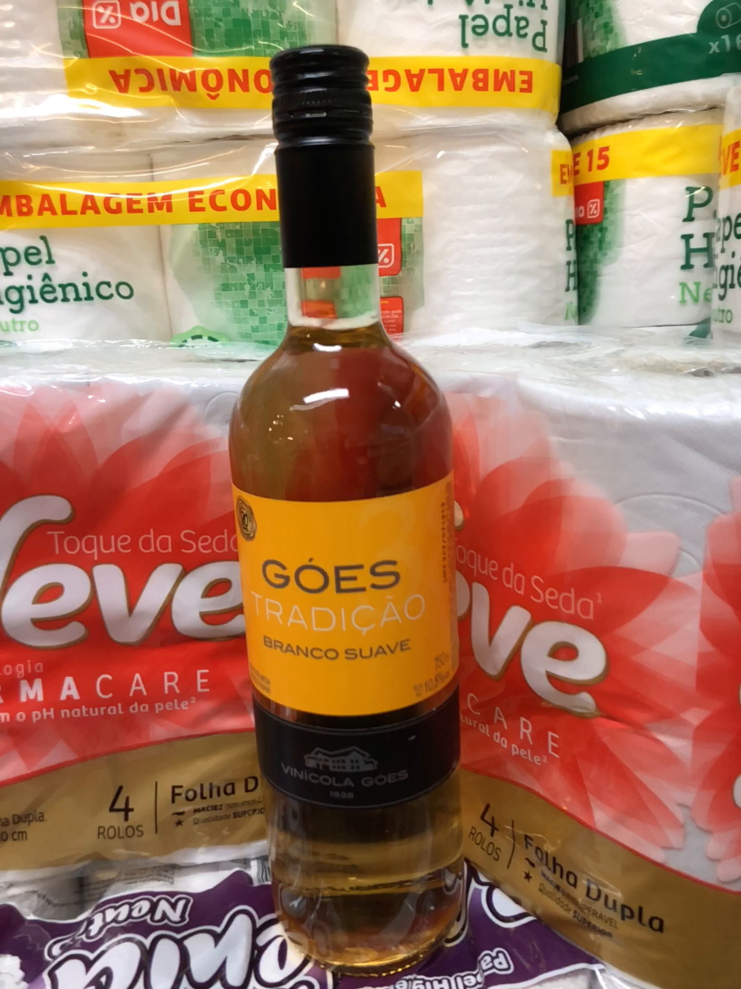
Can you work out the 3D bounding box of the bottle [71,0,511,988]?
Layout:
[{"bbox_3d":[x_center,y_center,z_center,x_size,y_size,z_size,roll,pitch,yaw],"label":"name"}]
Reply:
[{"bbox_3d":[-0.008,0.020,0.282,0.090,0.318,0.090,-4,16,1],"label":"bottle"}]
